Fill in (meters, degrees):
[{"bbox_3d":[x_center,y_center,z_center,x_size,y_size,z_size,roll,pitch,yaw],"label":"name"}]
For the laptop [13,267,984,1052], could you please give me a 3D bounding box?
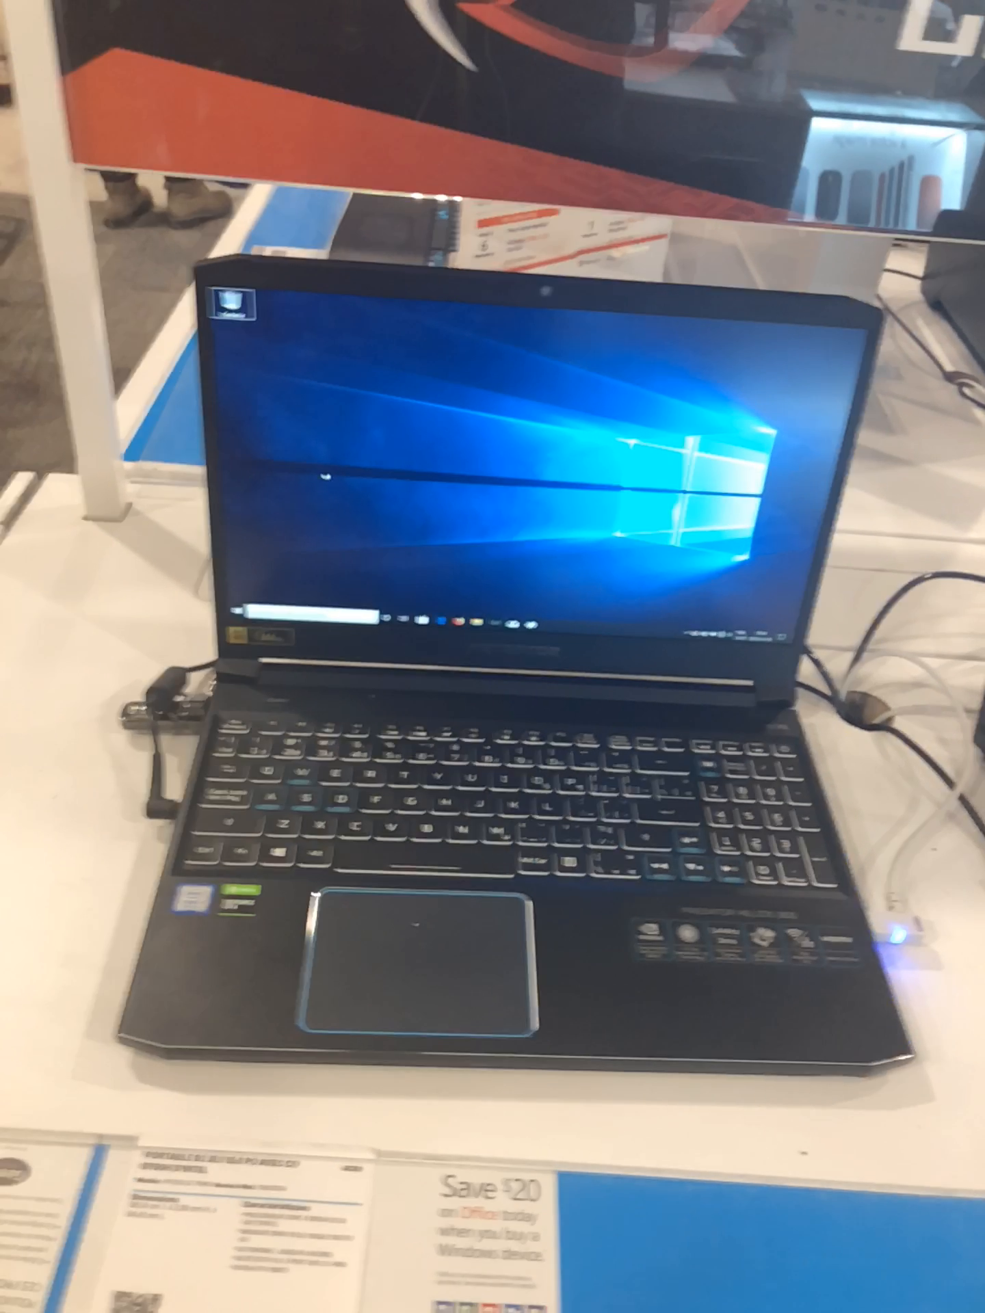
[{"bbox_3d":[0.021,-0.007,0.511,0.348,0.230,0.274,3,40,-3],"label":"laptop"}]
